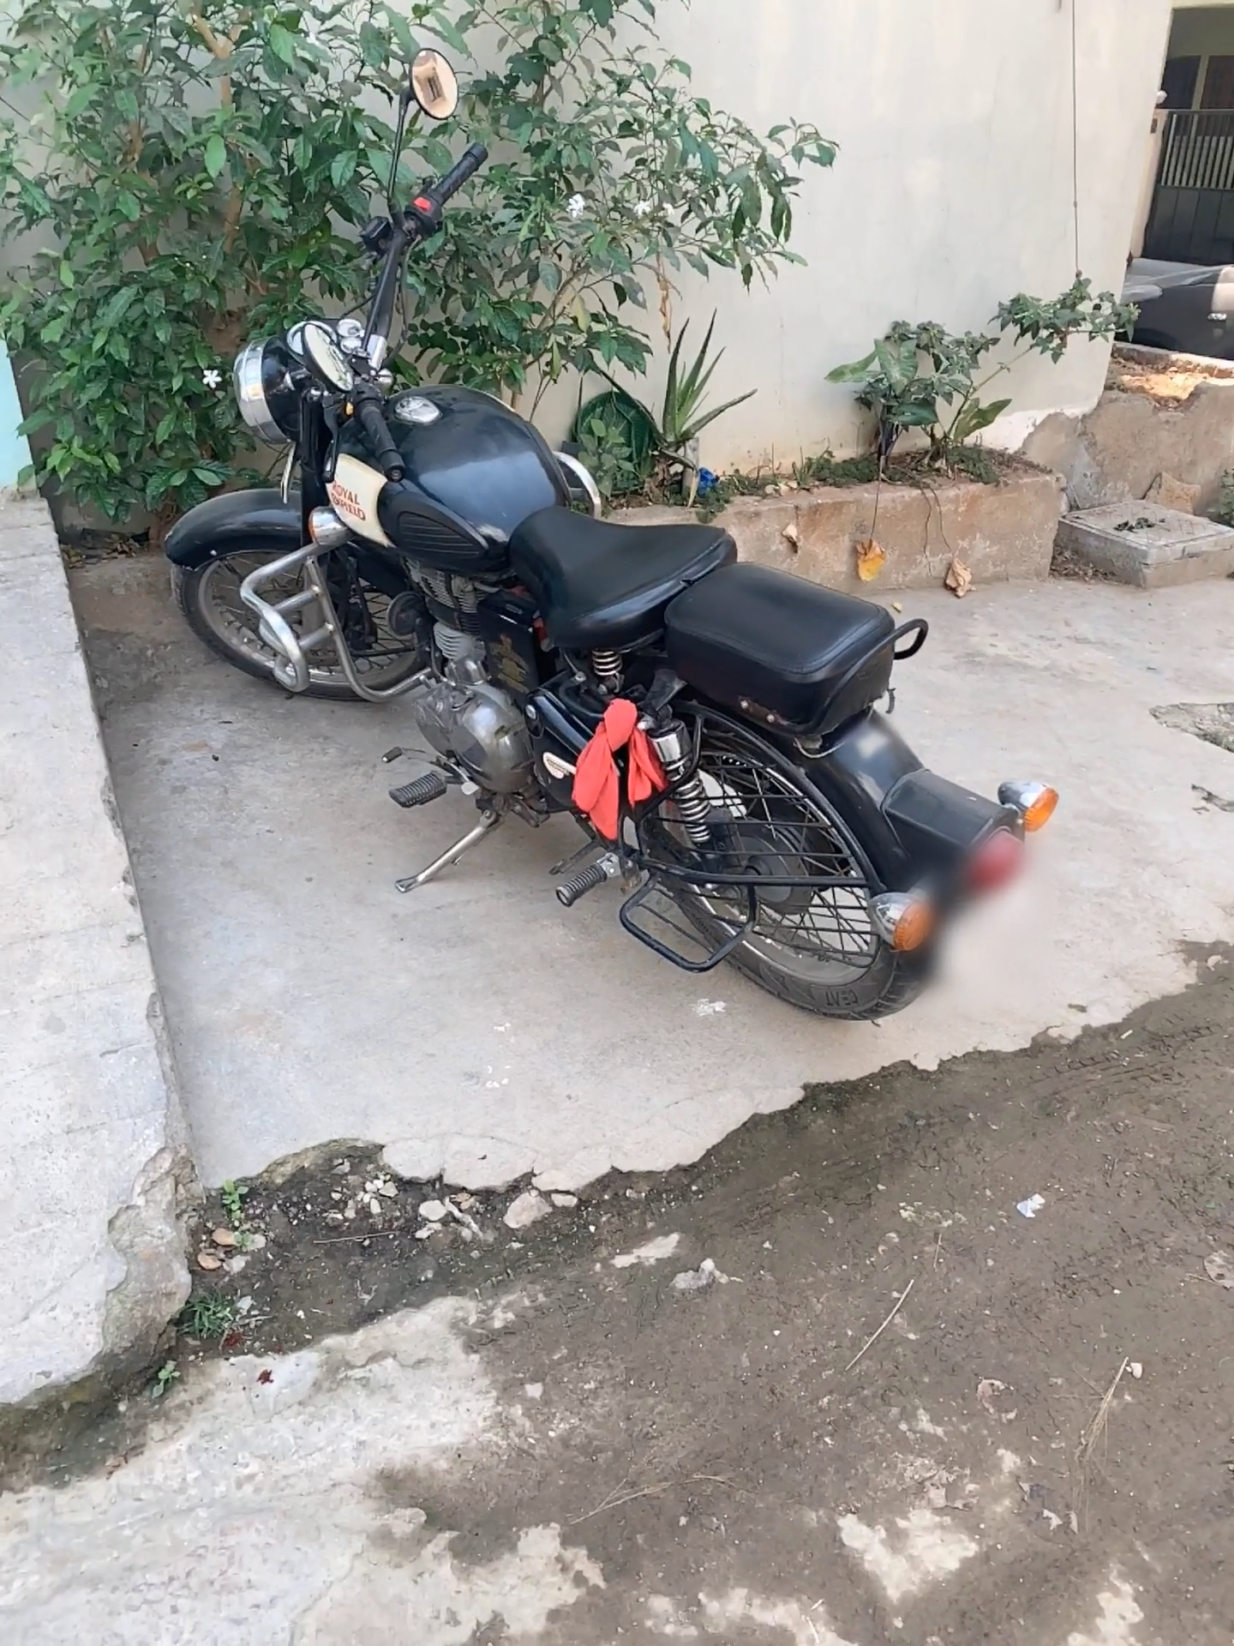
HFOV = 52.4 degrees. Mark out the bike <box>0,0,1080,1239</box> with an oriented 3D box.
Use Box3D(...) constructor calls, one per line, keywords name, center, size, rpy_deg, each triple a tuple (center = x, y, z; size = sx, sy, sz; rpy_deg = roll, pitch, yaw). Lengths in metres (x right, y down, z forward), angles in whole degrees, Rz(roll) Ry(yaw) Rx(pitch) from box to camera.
Box3D(name="bike", center=(-0.342, -0.526, 2.094), size=(1.789, 1.339, 0.748), rpy_deg=(25, 37, 27))
